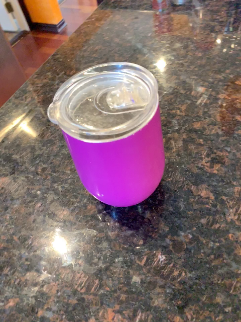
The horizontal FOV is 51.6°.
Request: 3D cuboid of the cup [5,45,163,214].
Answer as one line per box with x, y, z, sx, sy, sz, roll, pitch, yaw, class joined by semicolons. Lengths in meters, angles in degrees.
-0.014;-0.024;0.219;0.090;0.110;0.090;-5;54;6;cup
